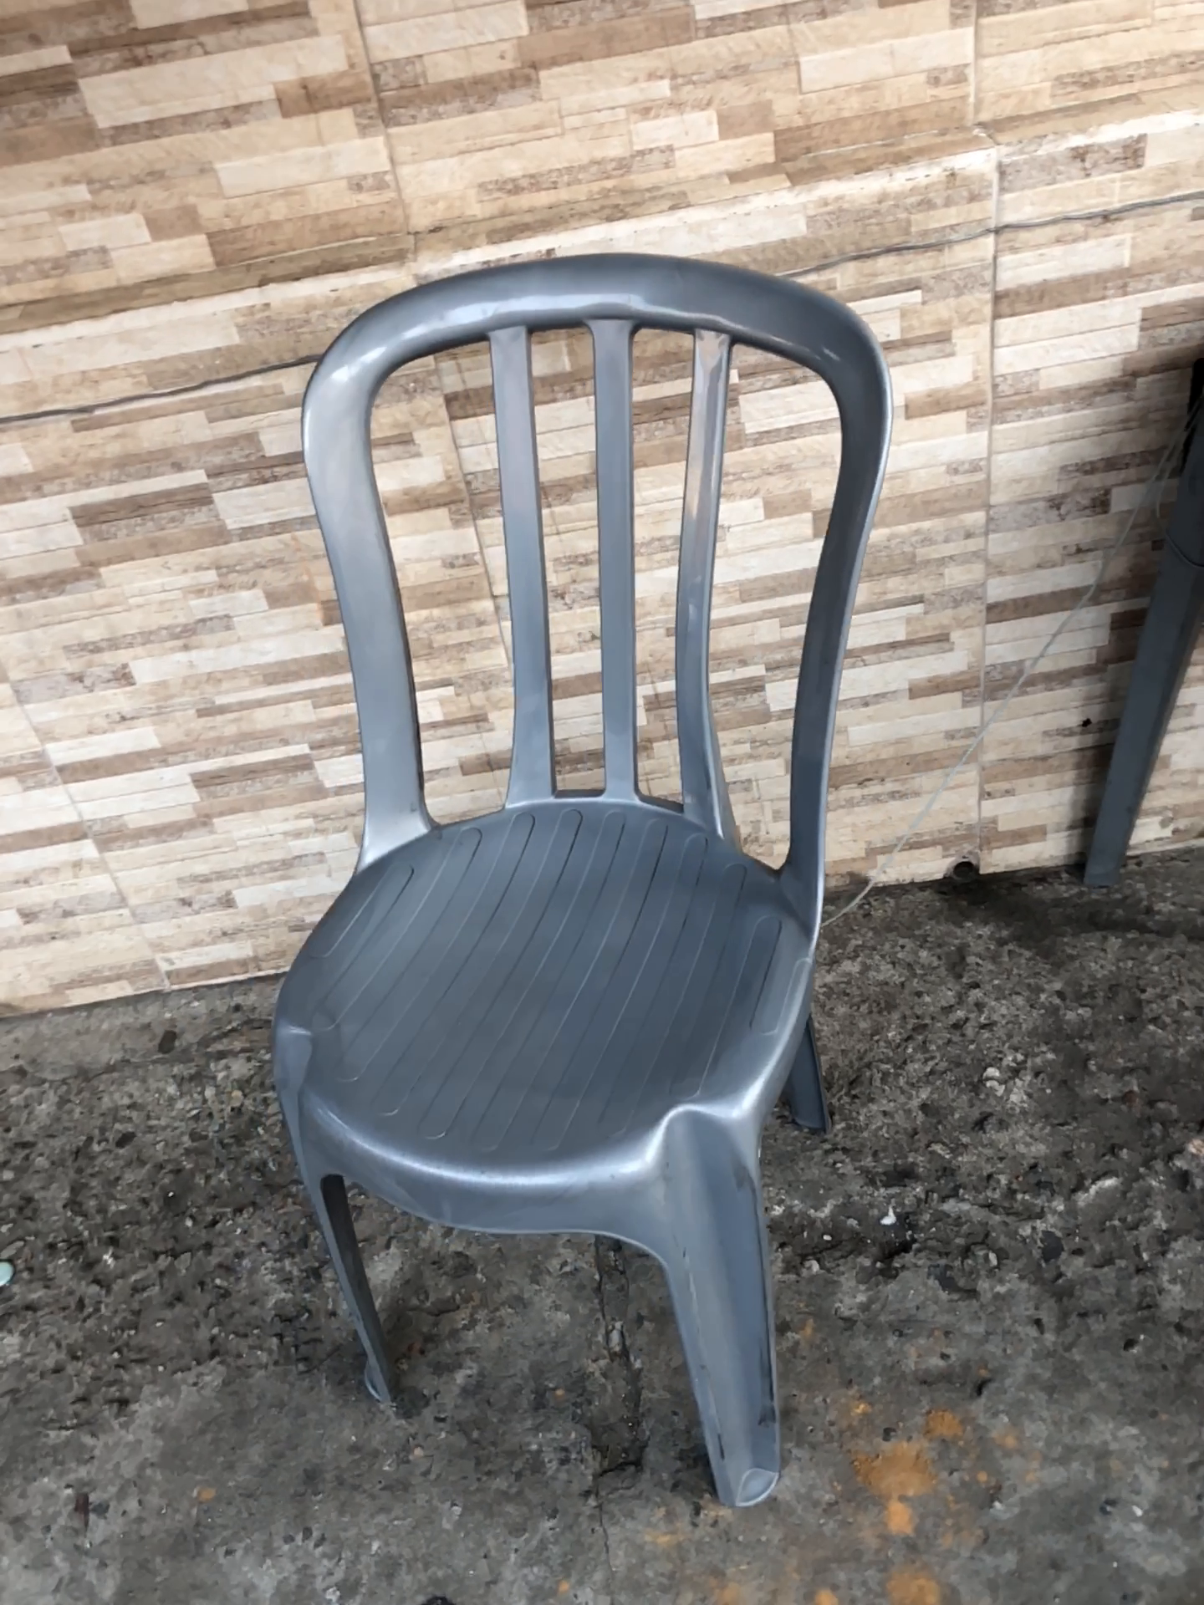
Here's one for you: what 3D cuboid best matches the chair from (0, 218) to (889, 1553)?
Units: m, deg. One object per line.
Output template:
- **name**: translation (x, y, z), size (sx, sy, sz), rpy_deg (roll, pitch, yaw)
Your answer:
- **chair**: translation (-0.049, 0.080, 1.014), size (0.440, 0.834, 0.503), rpy_deg (5, 41, 20)
